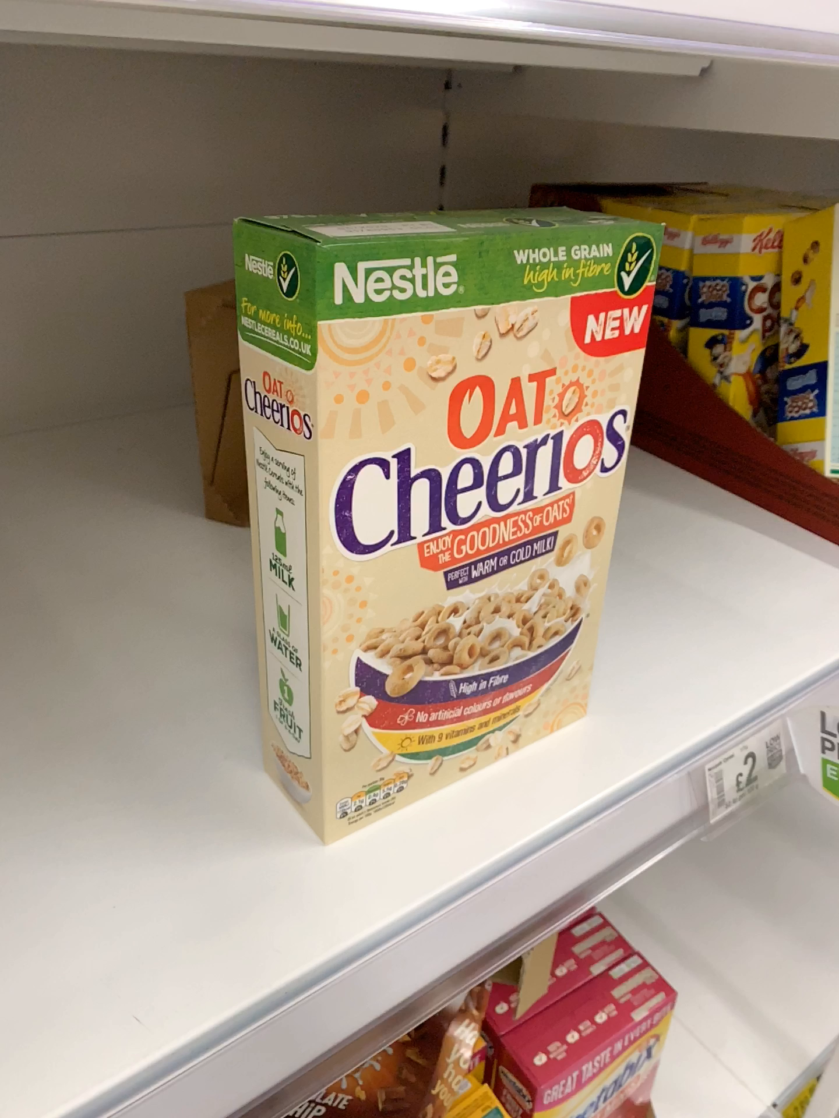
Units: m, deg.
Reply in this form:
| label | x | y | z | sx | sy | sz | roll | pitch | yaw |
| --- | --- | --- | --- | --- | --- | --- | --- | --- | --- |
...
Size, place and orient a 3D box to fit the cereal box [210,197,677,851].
| label | x | y | z | sx | sy | sz | roll | pitch | yaw |
| --- | --- | --- | --- | --- | --- | --- | --- | --- | --- |
| cereal box | 0.012 | -0.022 | 0.440 | 0.201 | 0.287 | 0.070 | -17 | 34 | -33 |
